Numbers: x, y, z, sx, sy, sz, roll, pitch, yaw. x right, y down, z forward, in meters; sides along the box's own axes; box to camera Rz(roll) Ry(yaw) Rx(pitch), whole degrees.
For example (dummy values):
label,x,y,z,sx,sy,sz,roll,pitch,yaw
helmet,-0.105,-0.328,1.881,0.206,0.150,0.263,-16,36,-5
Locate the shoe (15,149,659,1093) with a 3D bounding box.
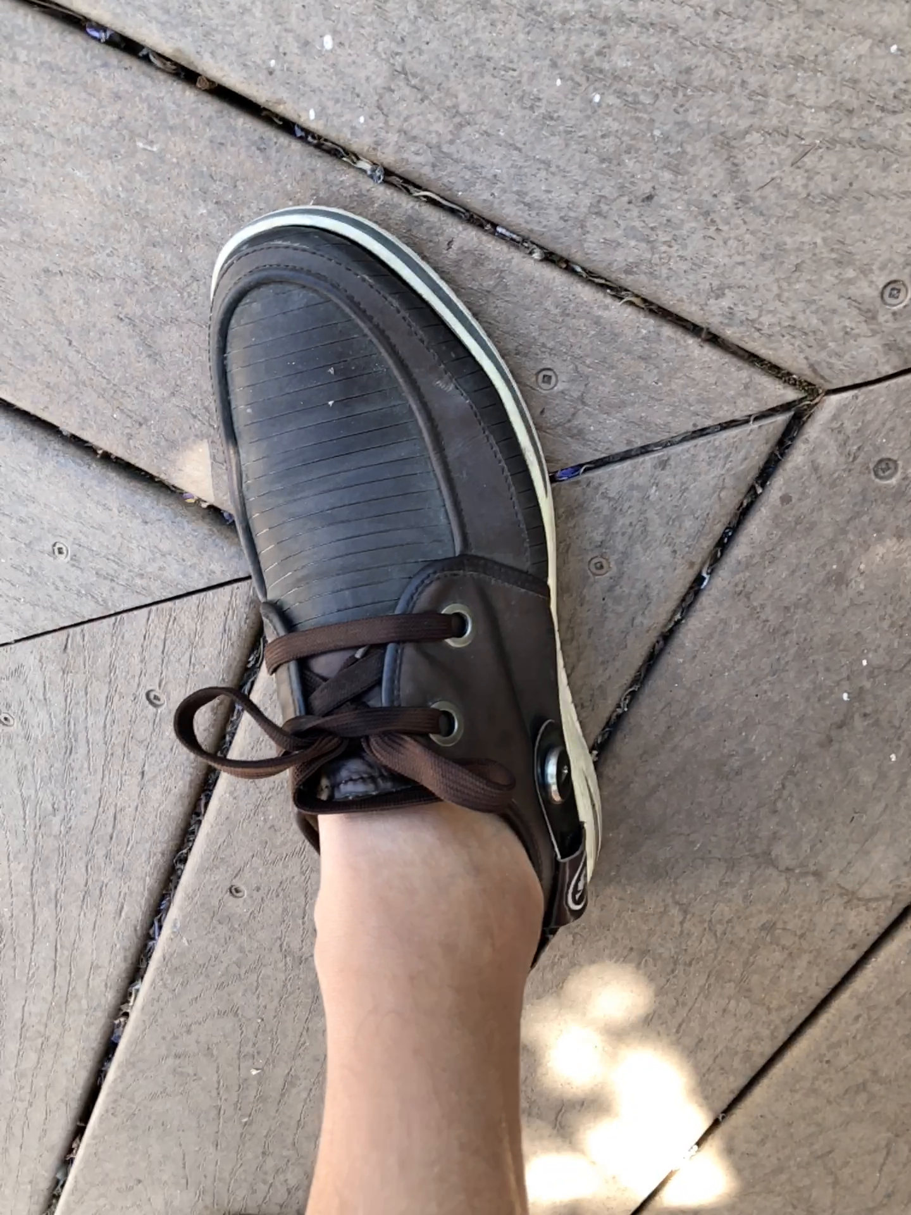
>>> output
label,x,y,z,sx,sy,sz,roll,pitch,yaw
shoe,-0.015,0.016,0.337,0.107,0.096,0.289,-10,111,18
